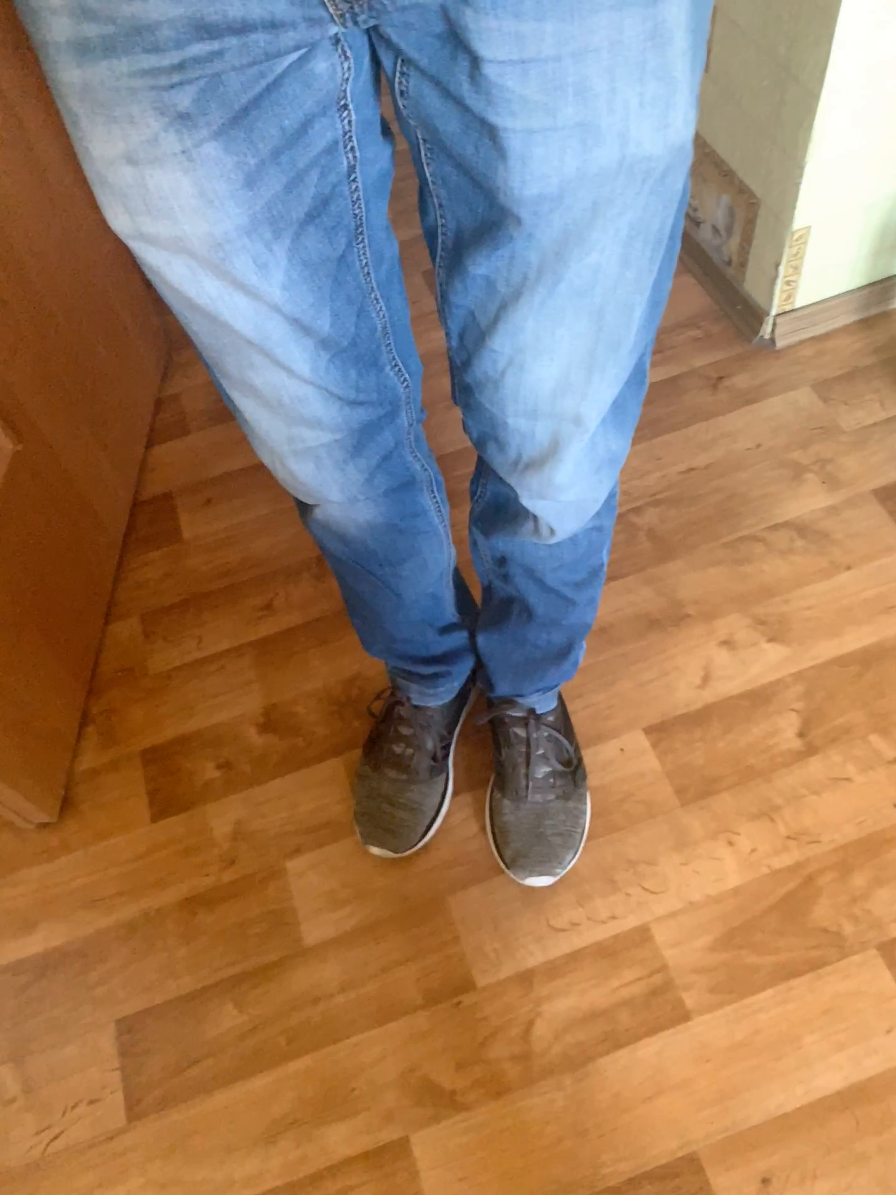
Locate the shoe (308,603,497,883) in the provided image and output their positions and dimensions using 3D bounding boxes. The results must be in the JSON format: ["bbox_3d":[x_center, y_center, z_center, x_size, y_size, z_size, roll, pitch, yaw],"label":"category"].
[{"bbox_3d":[-0.042,0.160,1.052,0.124,0.100,0.281,10,59,14],"label":"shoe"}]

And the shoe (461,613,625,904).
[{"bbox_3d":[0.099,0.174,1.027,0.134,0.100,0.291,-8,56,2],"label":"shoe"}]
